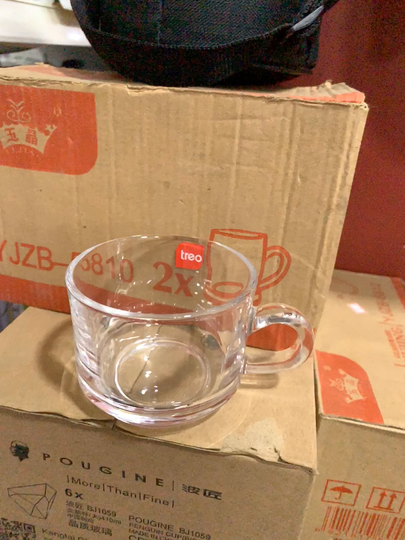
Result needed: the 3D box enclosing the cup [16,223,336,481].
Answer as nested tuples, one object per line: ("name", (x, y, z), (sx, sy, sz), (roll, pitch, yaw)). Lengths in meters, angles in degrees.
("cup", (-0.007, 0.027, 0.180), (0.104, 0.061, 0.072), (8, 26, 8))
